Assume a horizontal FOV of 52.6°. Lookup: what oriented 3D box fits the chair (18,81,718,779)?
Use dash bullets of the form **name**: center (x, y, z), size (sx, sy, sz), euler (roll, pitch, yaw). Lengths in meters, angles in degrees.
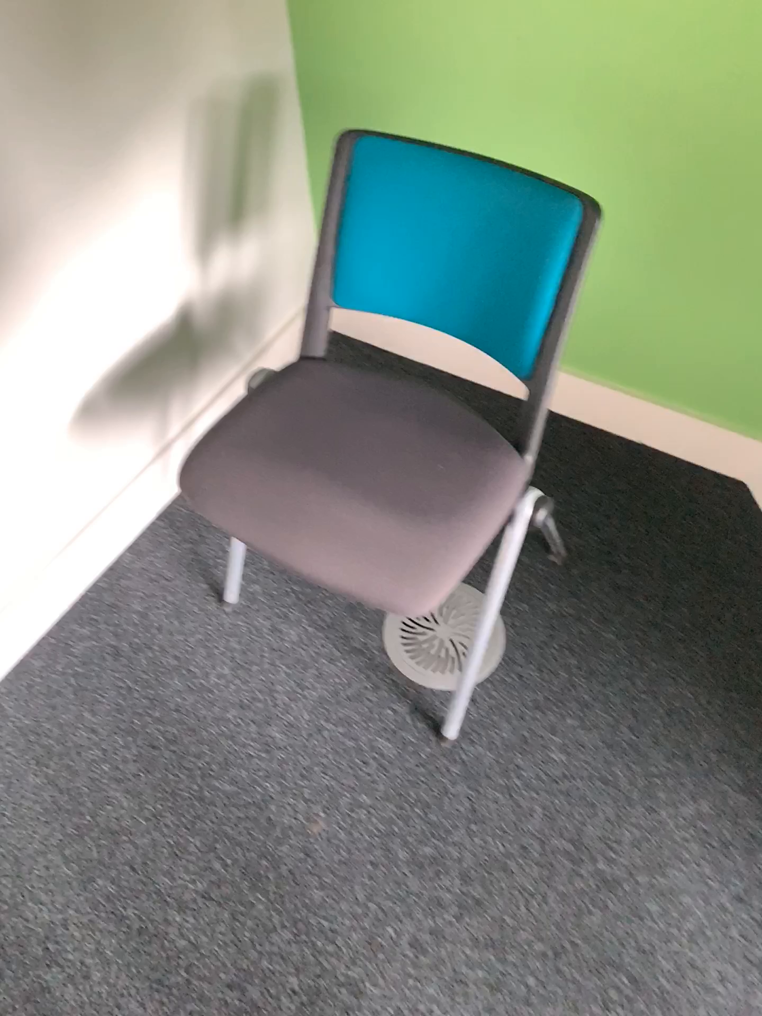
- **chair**: center (0.016, -0.104, 1.128), size (0.582, 0.664, 0.553), euler (25, 58, 21)
